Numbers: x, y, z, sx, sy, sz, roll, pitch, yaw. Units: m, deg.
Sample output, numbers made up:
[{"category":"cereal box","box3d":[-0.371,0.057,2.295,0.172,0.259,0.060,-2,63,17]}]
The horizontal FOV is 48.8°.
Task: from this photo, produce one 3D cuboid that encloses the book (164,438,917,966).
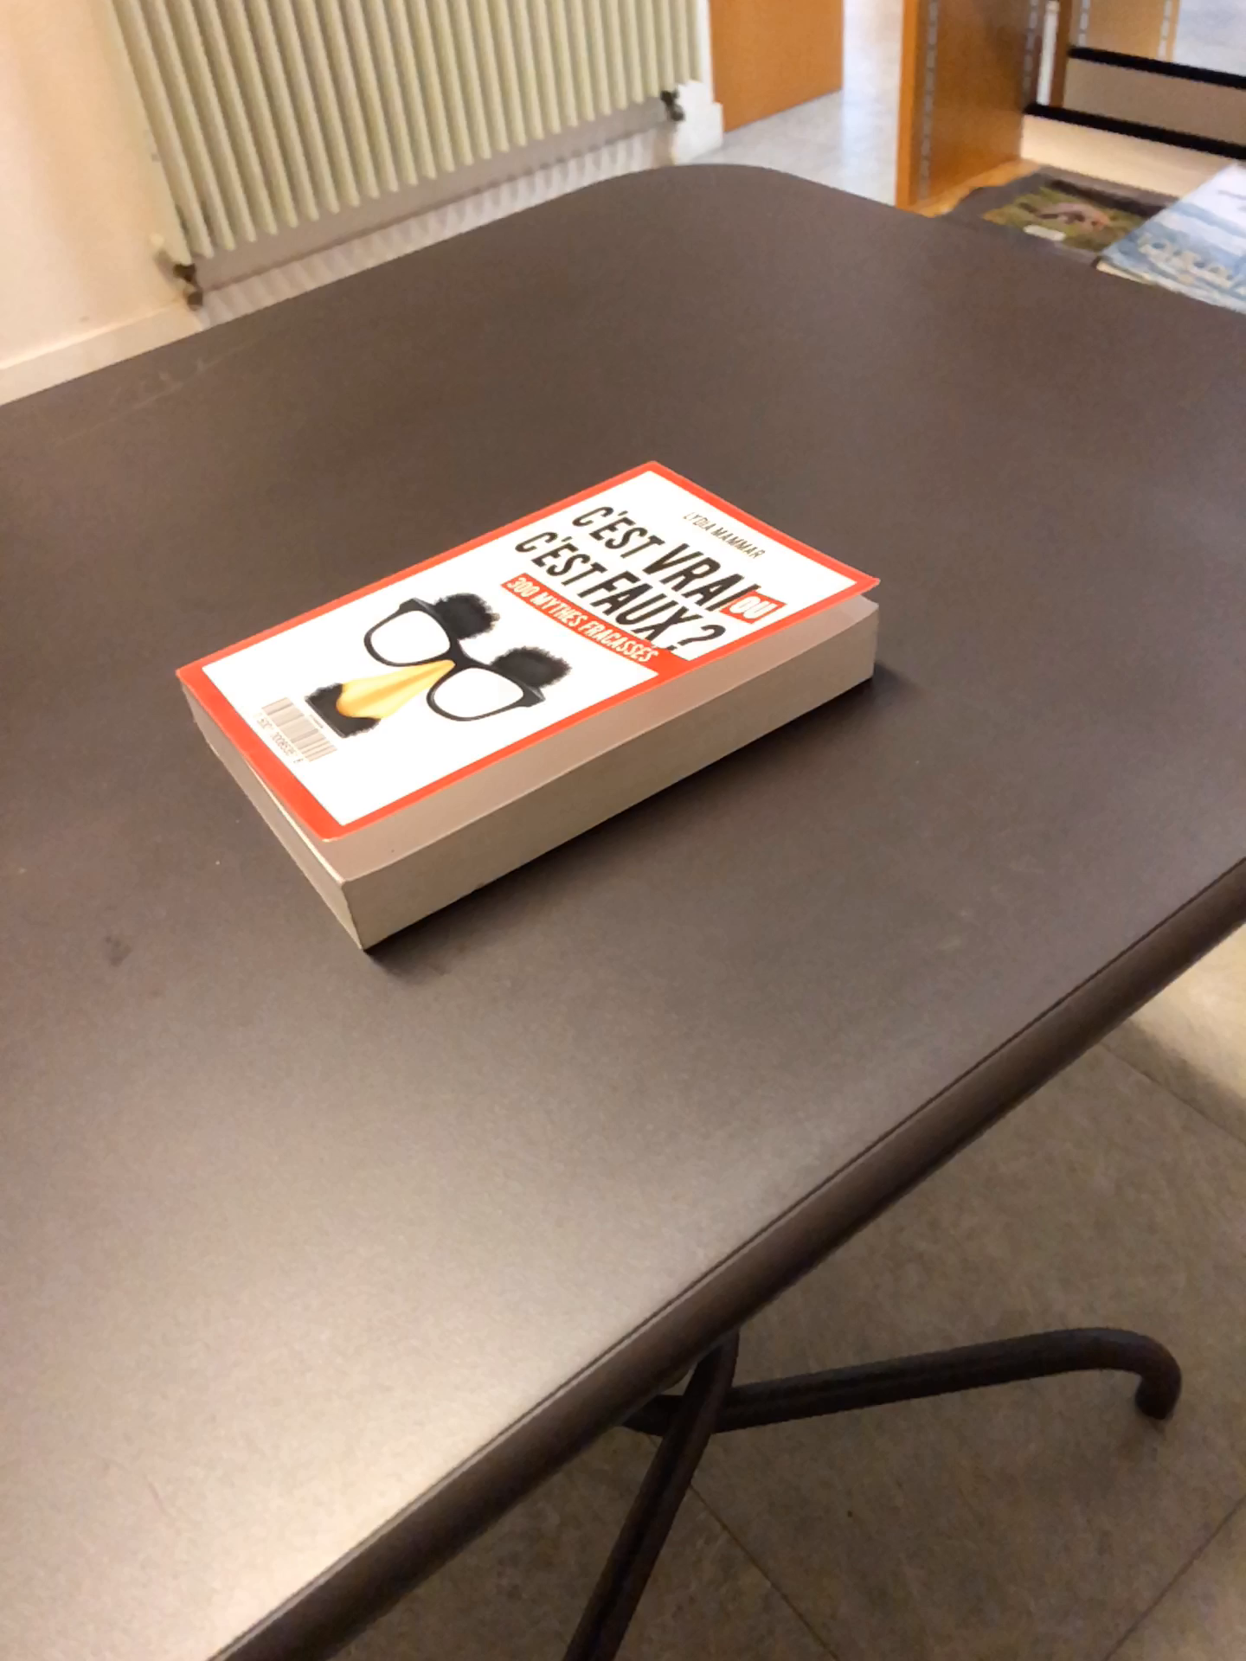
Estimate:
[{"category":"book","box3d":[-0.025,-0.051,0.411,0.184,0.034,0.127,-28,43,-19]}]
